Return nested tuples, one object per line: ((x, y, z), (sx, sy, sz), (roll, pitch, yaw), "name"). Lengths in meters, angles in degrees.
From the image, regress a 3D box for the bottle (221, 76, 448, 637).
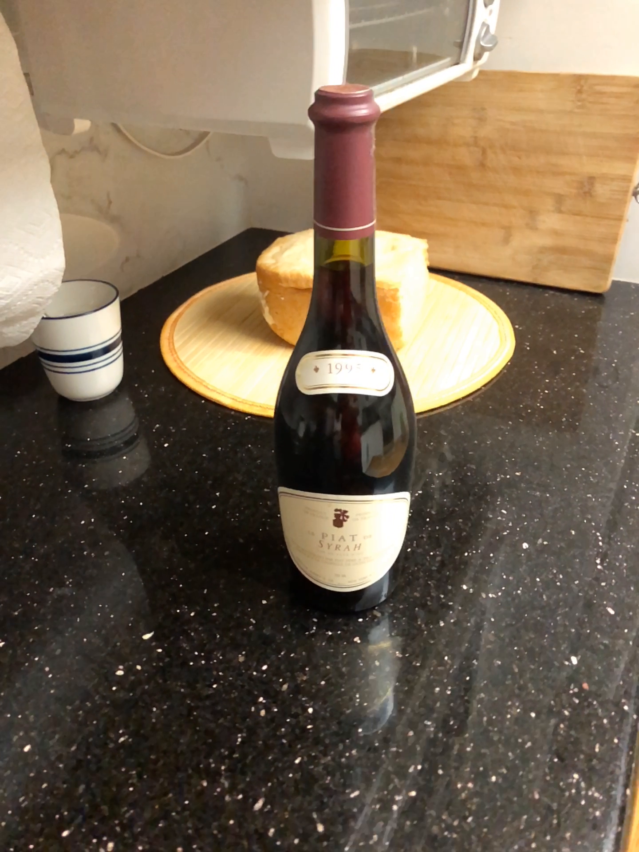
((0.011, -0.021, 0.400), (0.090, 0.308, 0.091), (-1, 33, 1), "bottle")
